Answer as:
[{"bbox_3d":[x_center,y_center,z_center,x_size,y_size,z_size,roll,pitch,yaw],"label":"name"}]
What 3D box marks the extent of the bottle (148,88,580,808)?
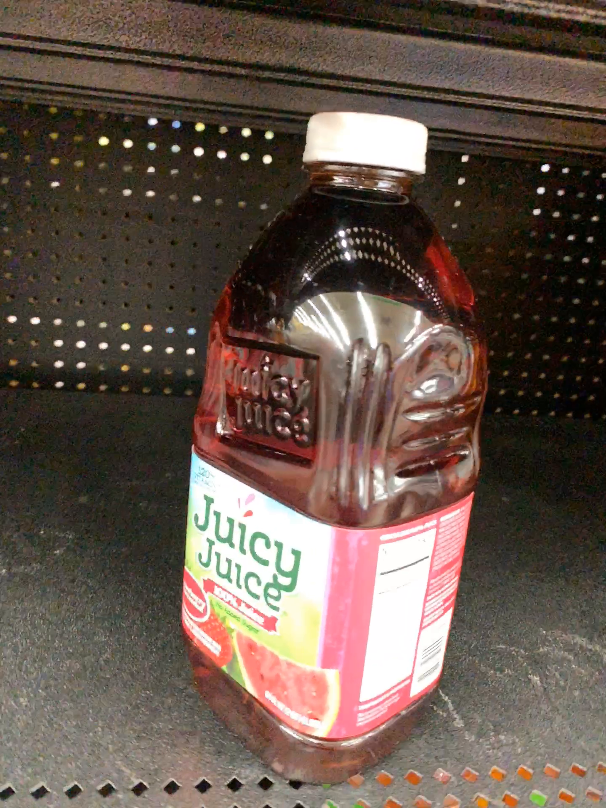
[{"bbox_3d":[0.009,0.016,0.268,0.125,0.255,0.090,22,24,40],"label":"bottle"}]
